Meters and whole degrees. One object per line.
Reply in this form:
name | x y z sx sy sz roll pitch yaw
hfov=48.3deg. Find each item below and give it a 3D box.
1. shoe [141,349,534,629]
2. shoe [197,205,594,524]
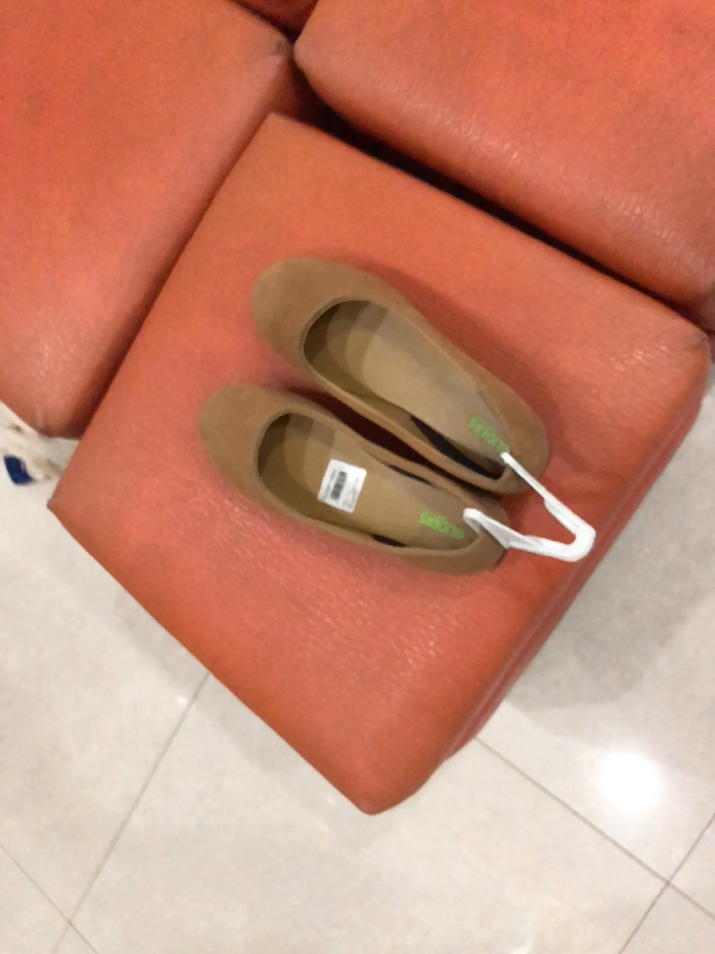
shoe | -0.023 0.002 0.609 0.287 0.071 0.094 26 97 23
shoe | 0.021 -0.087 0.596 0.287 0.071 0.097 36 100 22
